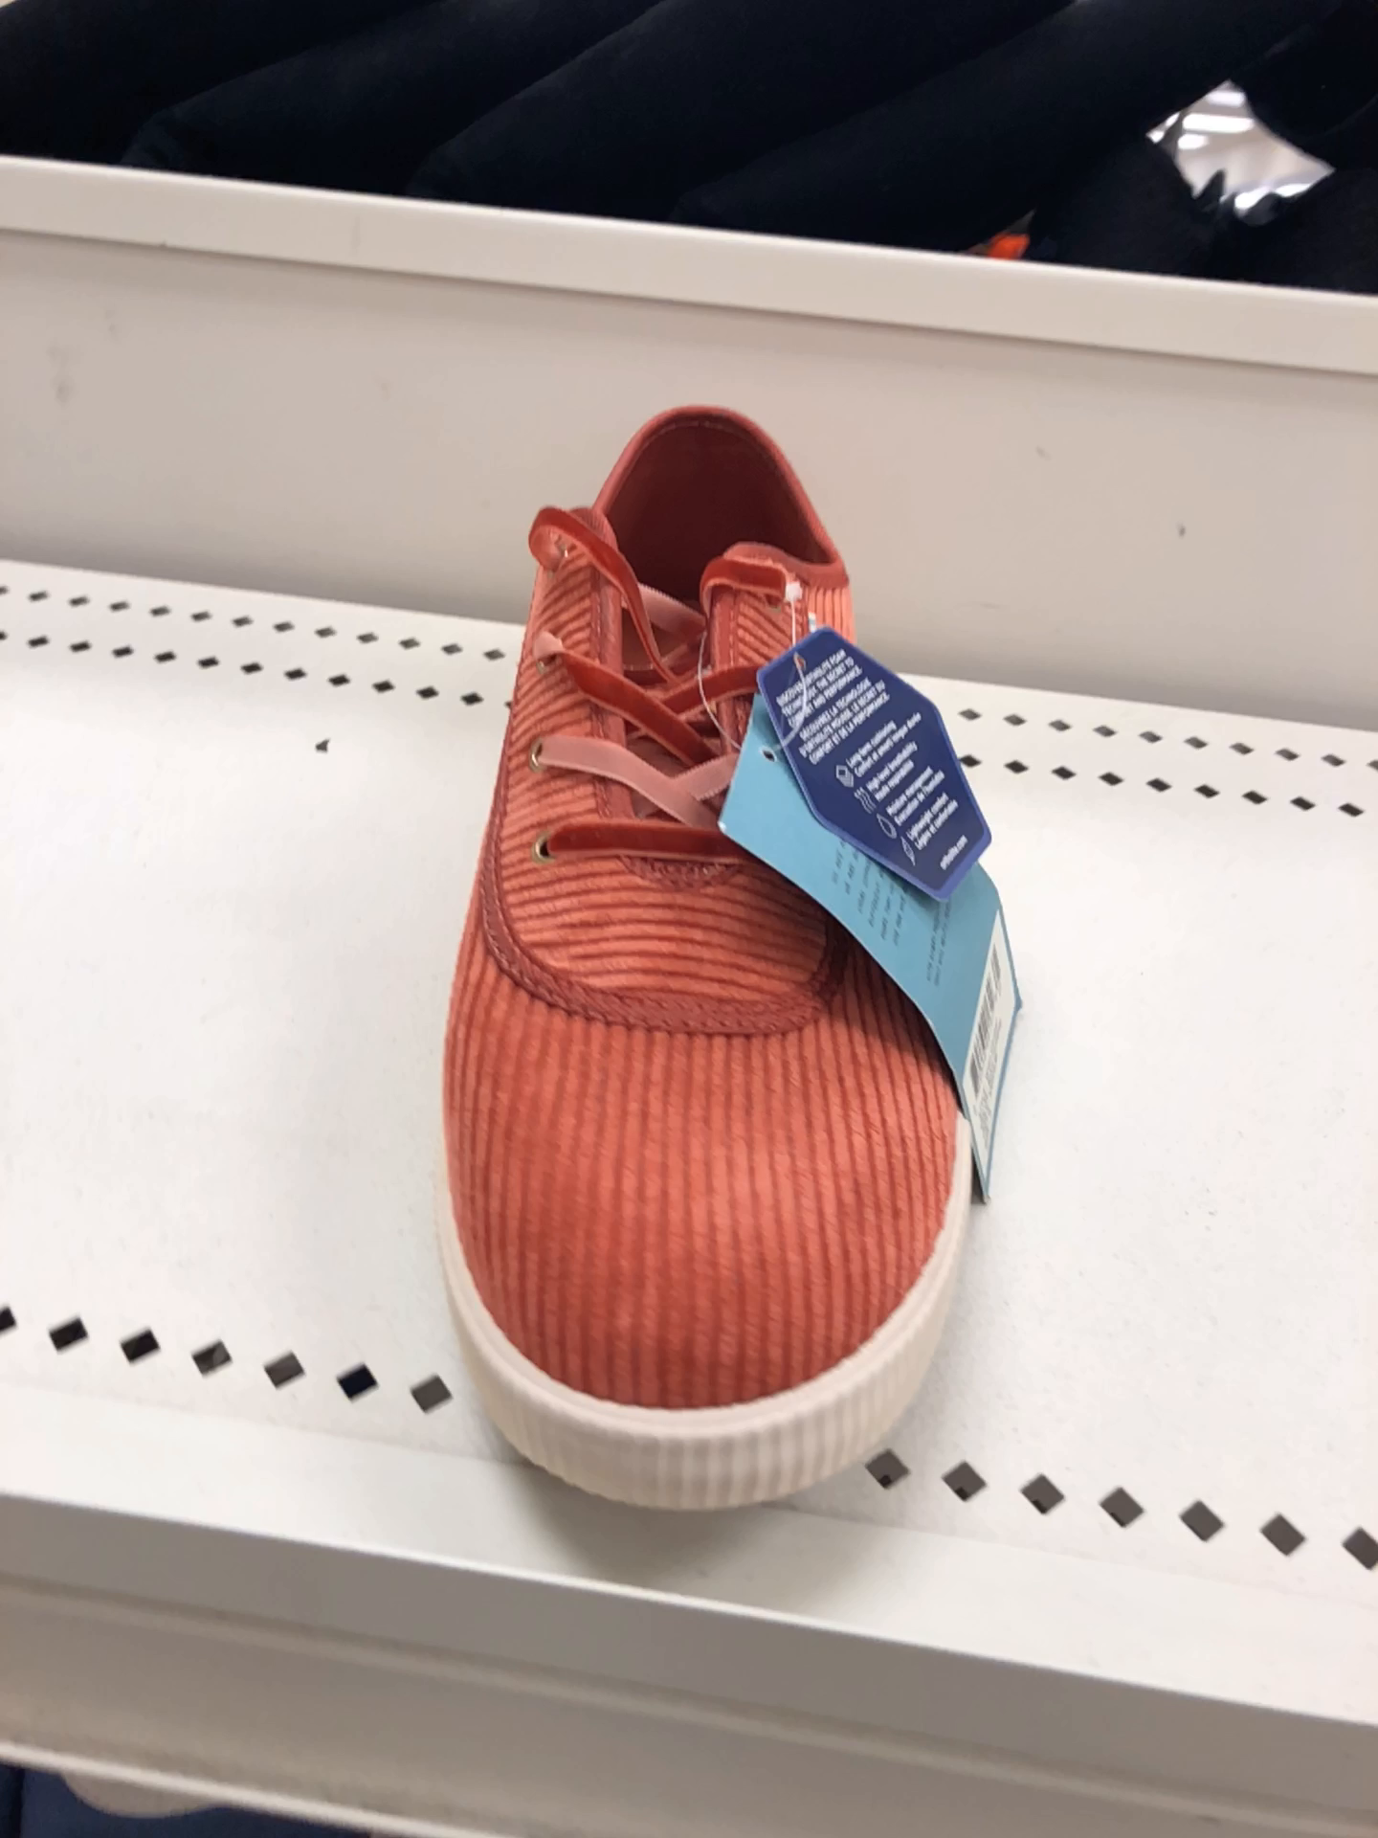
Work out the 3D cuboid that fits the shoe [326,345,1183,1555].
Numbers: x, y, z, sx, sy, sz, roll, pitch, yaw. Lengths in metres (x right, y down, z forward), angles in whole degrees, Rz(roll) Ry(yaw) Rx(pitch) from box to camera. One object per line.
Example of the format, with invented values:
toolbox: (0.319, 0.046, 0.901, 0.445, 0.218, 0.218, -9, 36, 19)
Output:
shoe: (0.011, -0.037, 0.336, 0.100, 0.089, 0.323, 5, 34, -1)
